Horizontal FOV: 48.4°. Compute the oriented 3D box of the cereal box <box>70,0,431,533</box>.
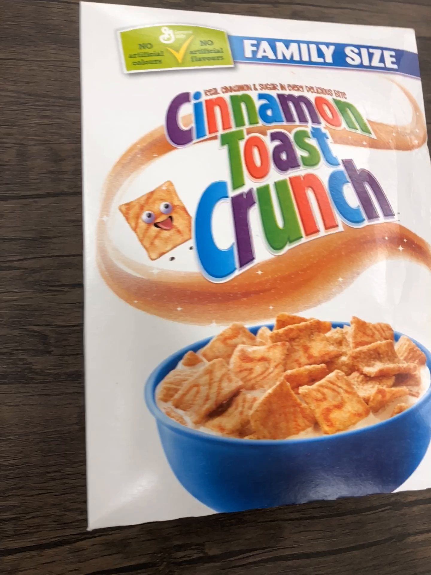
[{"bbox_3d":[0.030,-0.043,0.347,0.250,0.070,0.360,-1,79,-13],"label":"cereal box"}]
